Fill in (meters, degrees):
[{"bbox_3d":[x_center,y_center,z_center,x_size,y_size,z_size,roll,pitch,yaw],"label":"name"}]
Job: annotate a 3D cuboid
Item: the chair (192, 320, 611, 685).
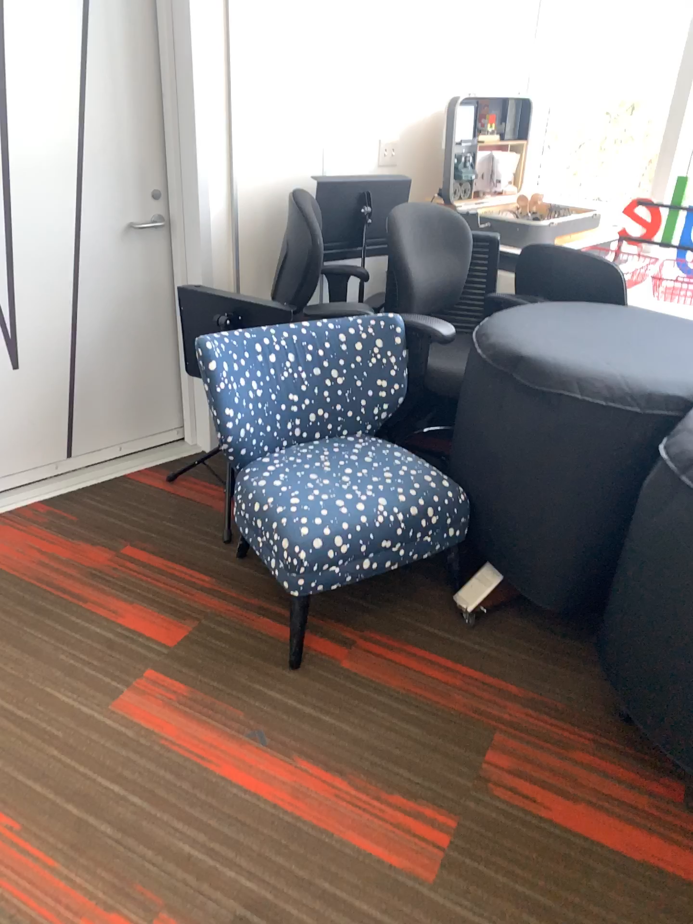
[{"bbox_3d":[0.131,0.035,2.274,1.001,0.686,0.774,-13,32,-28],"label":"chair"}]
